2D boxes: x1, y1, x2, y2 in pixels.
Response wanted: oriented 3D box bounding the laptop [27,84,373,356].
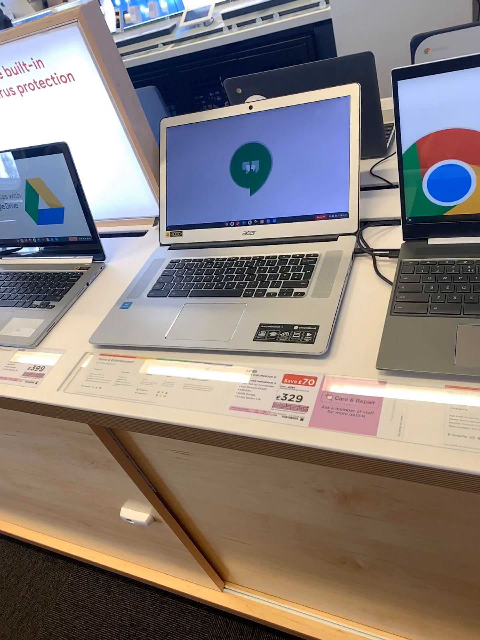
[{"bbox_3d":[-0.022,-0.168,0.771,0.375,0.168,0.433,1,43,25],"label":"laptop"}]
